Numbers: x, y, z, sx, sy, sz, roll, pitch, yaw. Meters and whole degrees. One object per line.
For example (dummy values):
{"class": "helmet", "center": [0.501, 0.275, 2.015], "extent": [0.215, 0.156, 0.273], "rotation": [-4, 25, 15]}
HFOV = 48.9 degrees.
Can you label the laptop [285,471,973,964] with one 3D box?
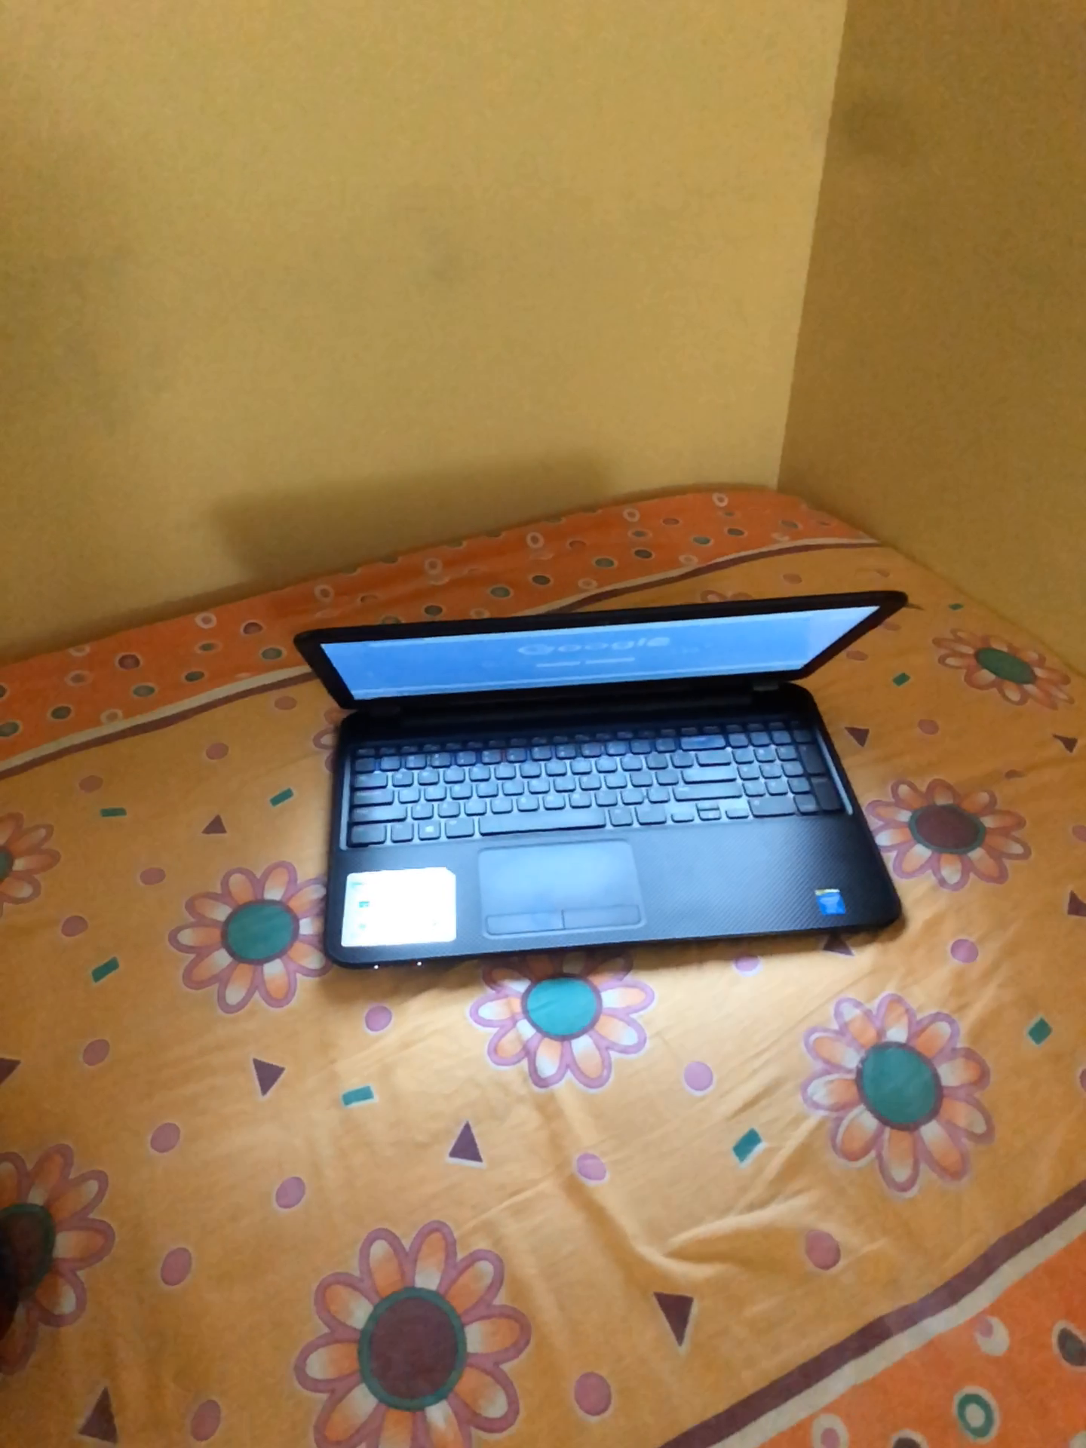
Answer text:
{"class": "laptop", "center": [0.037, -0.012, 0.783], "extent": [0.366, 0.190, 0.239], "rotation": [-4, 41, -3]}
